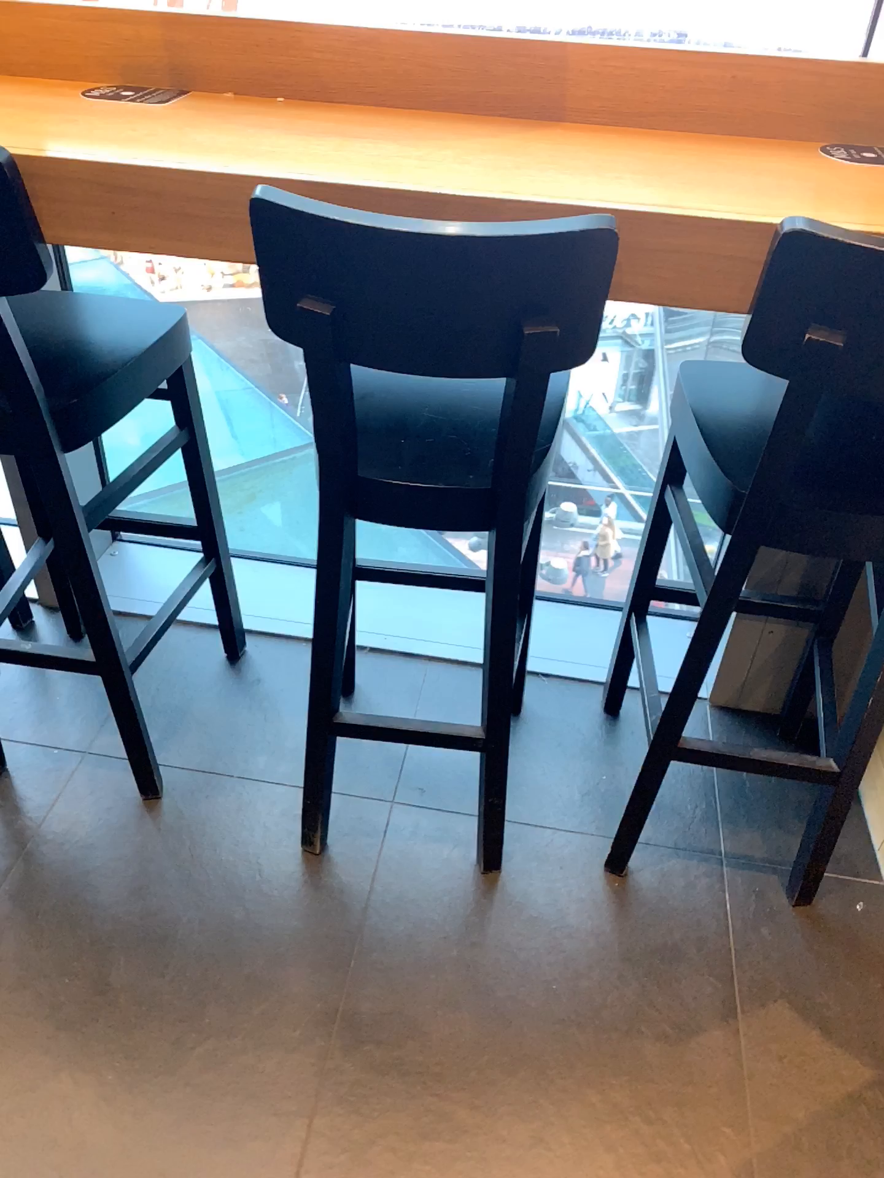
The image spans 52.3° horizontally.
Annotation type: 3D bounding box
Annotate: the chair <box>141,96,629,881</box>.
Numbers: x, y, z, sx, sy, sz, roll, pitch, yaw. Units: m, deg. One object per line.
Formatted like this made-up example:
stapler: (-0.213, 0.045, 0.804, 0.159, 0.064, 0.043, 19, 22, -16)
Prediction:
chair: (-0.050, -0.101, 1.310, 0.452, 1.001, 0.465, 5, 37, 4)

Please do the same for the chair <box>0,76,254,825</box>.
chair: (-0.601, -0.174, 1.388, 0.392, 1.001, 0.464, 8, 37, 7)

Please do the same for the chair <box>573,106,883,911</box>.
chair: (0.463, -0.069, 1.274, 0.422, 1.001, 0.465, 6, 37, 5)
